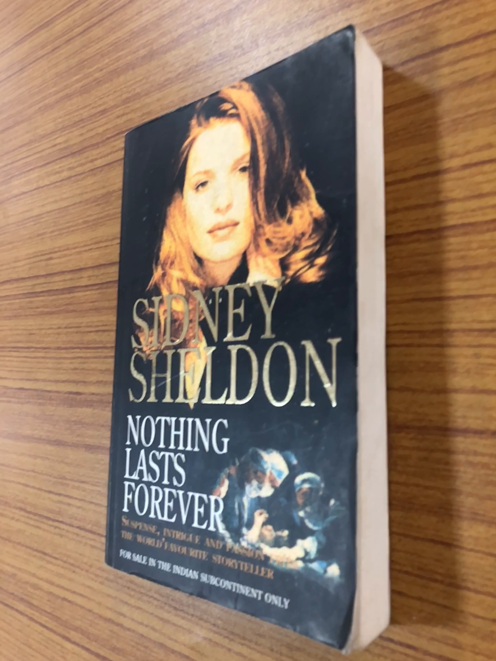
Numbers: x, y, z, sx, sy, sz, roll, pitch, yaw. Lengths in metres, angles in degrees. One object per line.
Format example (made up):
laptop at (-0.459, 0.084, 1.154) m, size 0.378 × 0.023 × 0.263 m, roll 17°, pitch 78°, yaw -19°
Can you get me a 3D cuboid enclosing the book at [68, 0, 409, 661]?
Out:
book at (-0.011, 0.000, 0.190) m, size 0.121 × 0.030 × 0.170 m, roll -6°, pitch 81°, yaw 40°
